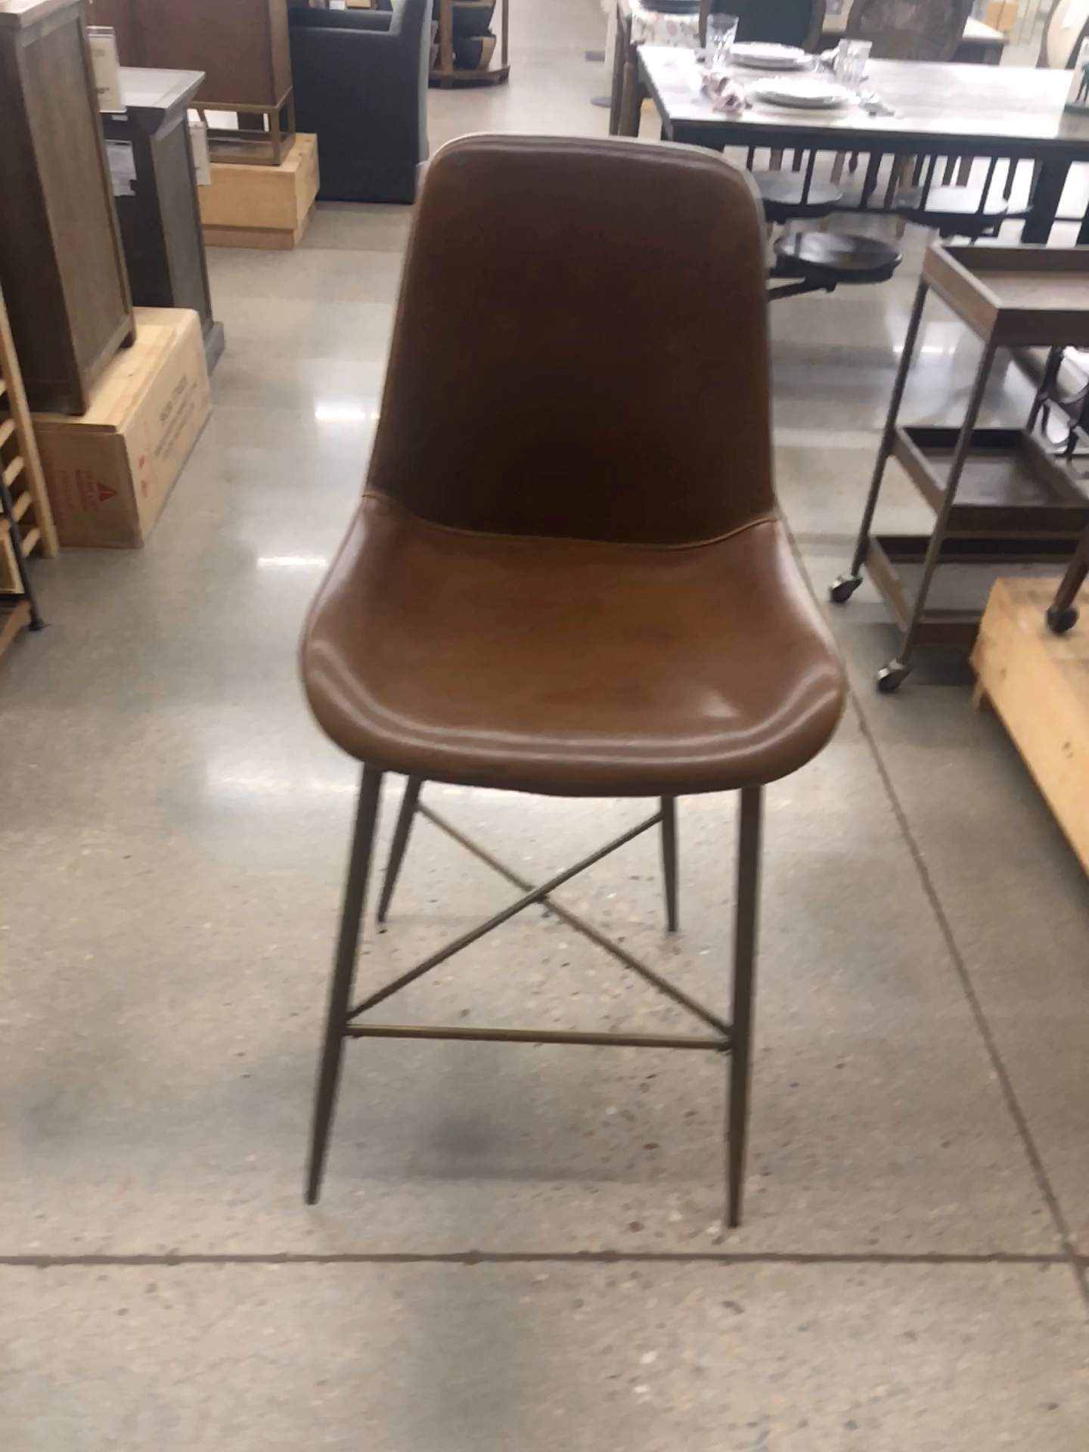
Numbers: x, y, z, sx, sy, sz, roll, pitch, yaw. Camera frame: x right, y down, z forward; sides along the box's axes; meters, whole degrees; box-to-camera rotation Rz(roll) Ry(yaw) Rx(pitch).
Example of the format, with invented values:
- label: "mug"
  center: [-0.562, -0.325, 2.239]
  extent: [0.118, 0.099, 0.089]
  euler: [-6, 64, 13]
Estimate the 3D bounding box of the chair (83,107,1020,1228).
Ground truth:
- label: "chair"
  center: [-0.017, -0.026, 1.330]
  extent: [0.602, 1.054, 0.614]
  euler: [3, 38, -1]
